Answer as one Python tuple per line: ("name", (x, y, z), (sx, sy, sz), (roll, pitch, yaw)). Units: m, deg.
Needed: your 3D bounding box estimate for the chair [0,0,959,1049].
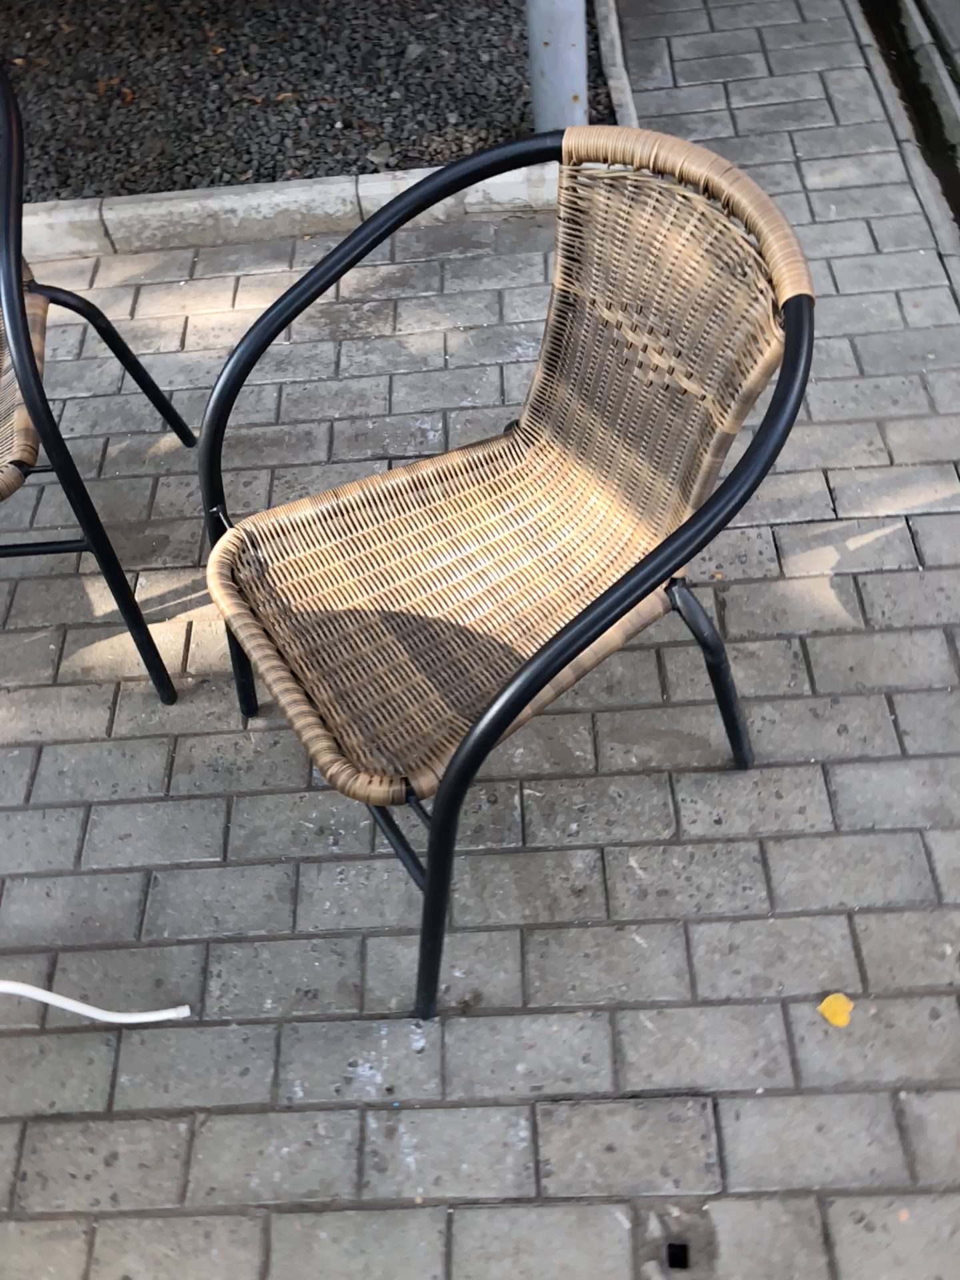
("chair", (-0.019, -0.085, 1.027), (0.590, 0.668, 0.541), (-30, 57, -12))
